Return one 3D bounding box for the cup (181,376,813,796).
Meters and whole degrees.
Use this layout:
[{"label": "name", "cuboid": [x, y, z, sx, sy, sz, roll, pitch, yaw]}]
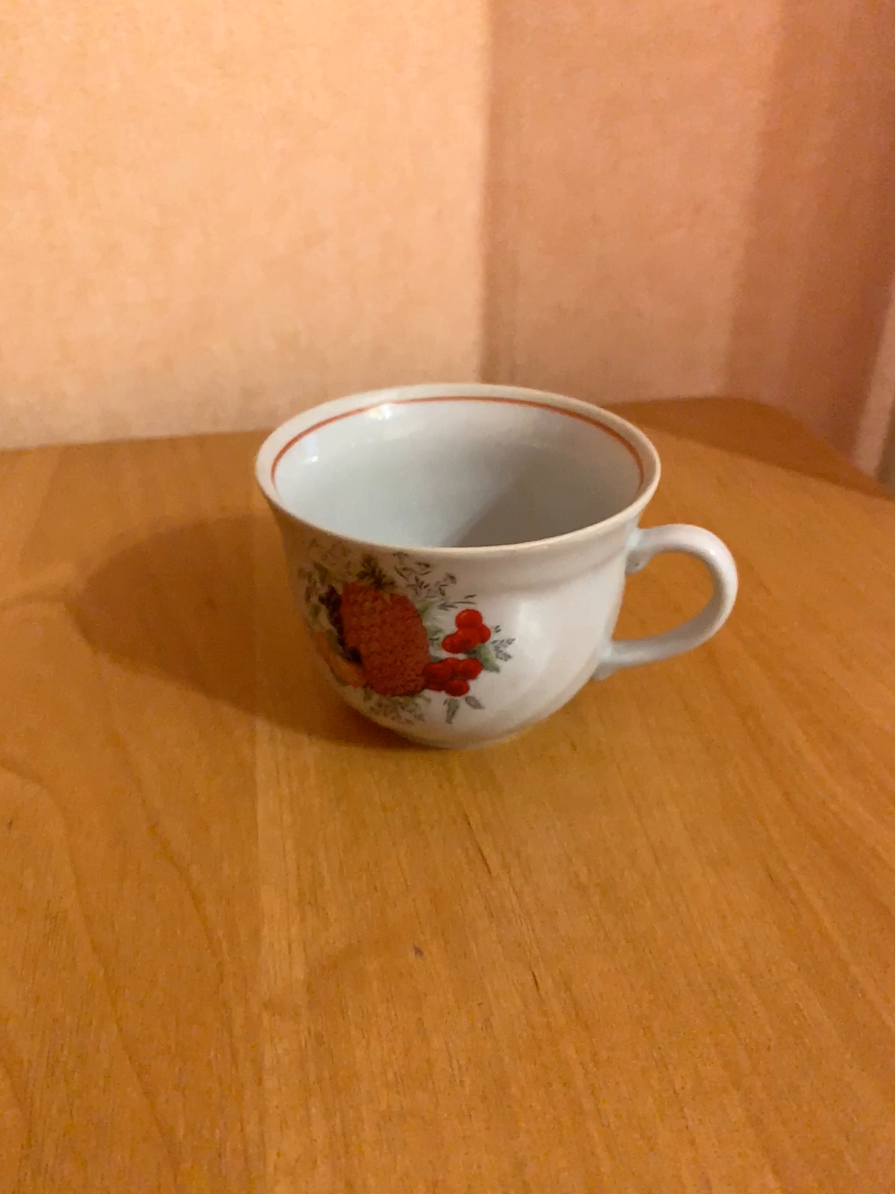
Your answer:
[{"label": "cup", "cuboid": [0.011, -0.008, 0.211, 0.108, 0.056, 0.083, 2, 32, 4]}]
